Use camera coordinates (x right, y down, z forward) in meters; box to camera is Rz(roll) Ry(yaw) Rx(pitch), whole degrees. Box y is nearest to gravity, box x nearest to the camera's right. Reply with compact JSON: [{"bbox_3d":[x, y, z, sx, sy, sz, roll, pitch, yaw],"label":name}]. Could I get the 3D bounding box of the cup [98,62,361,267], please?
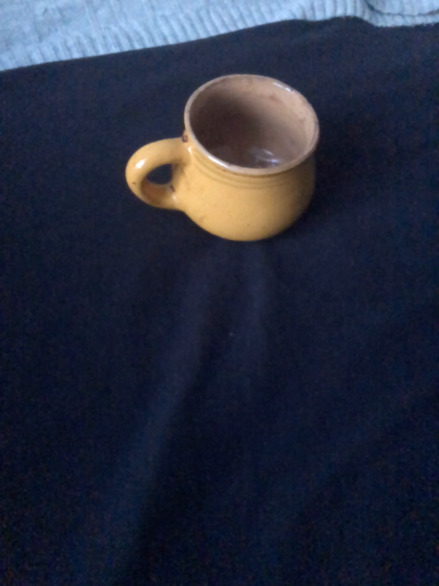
[{"bbox_3d":[0.000,-0.073,0.278,0.119,0.058,0.082,-10,62,-11],"label":"cup"}]
